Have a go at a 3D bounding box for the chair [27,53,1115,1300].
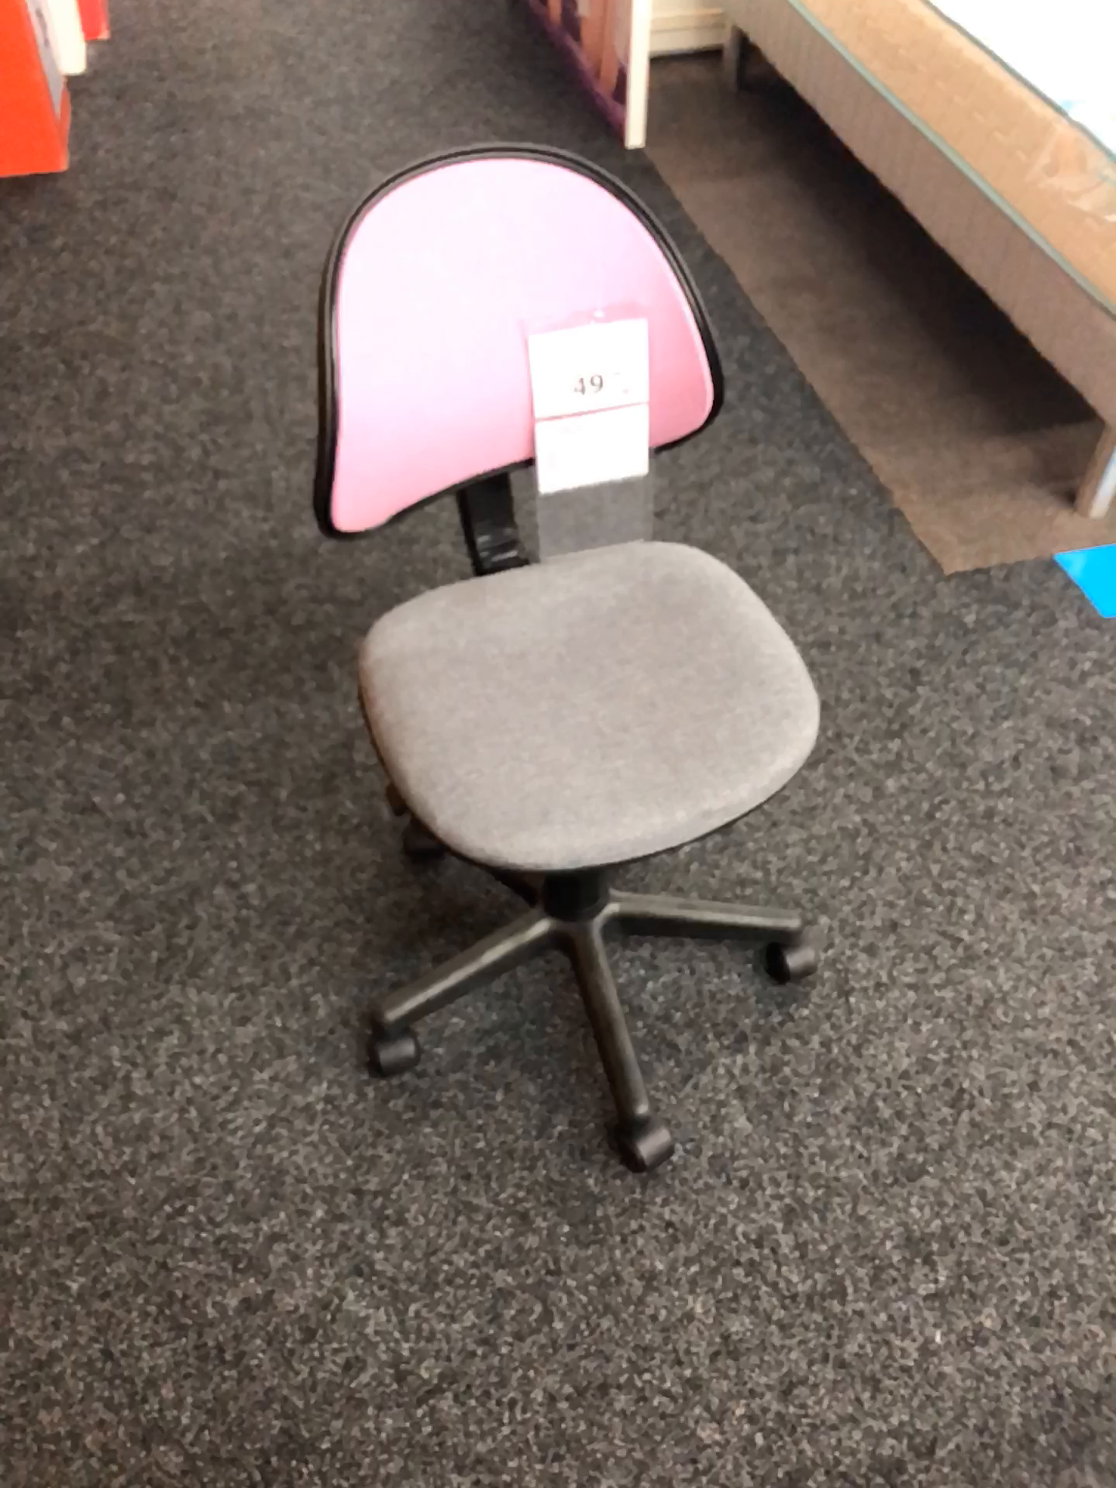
[{"bbox_3d":[0.025,-0.056,1.124,0.602,0.776,0.601,-24,53,-21],"label":"chair"}]
